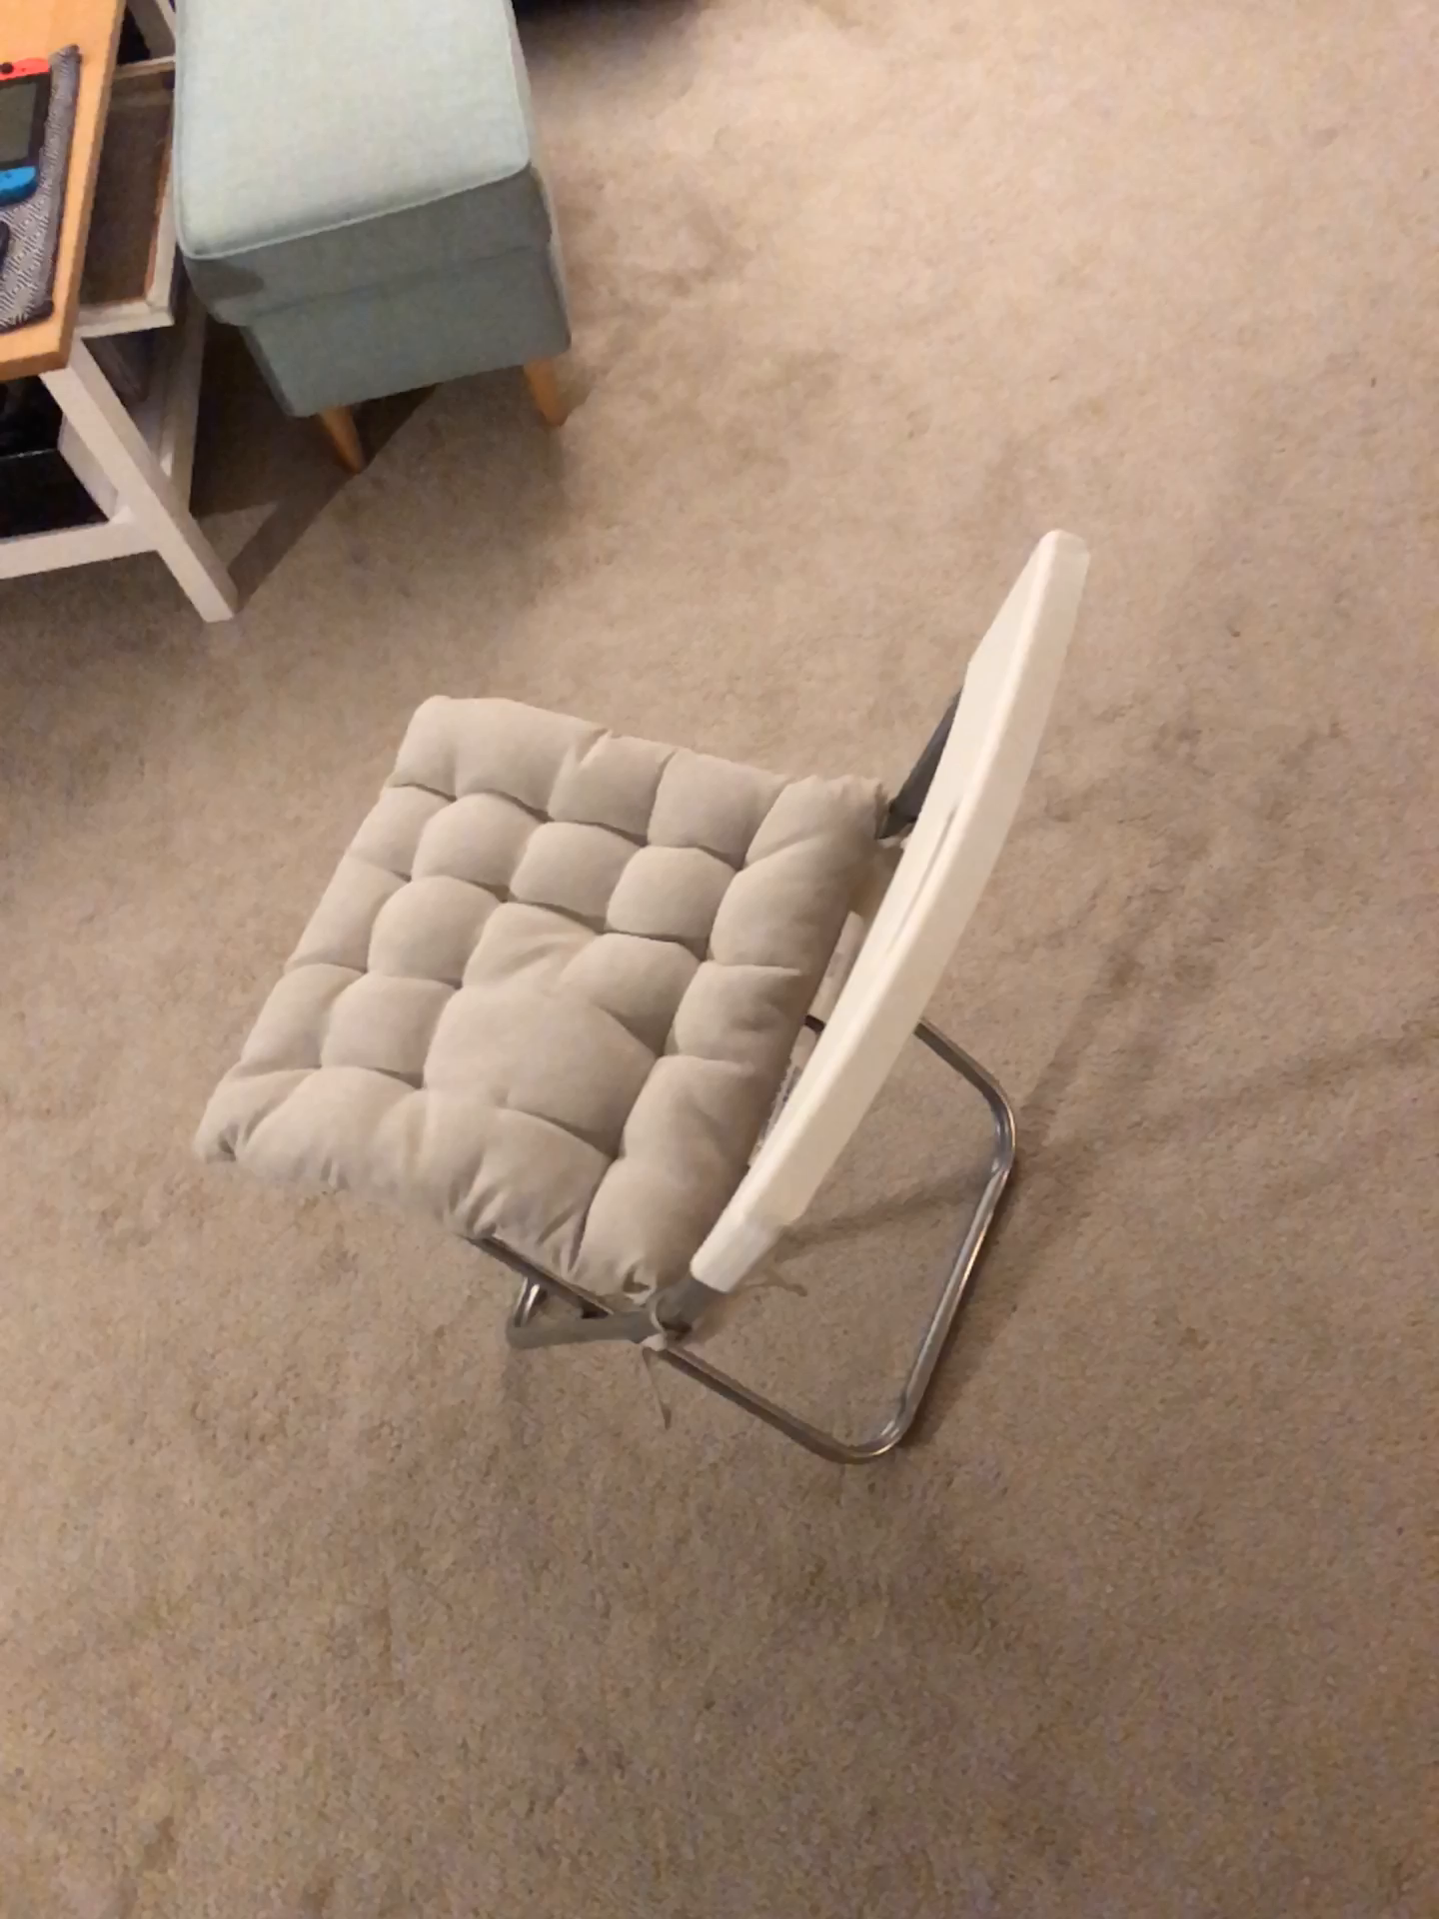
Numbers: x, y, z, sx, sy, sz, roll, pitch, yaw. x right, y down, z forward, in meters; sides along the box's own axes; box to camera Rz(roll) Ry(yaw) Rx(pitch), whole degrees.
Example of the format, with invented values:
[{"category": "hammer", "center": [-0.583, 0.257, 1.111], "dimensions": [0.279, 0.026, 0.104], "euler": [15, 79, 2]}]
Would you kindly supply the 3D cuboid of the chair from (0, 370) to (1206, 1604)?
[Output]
[{"category": "chair", "center": [-0.025, 0.059, 1.138], "dimensions": [0.540, 0.668, 0.511], "euler": [17, 66, 19]}]
